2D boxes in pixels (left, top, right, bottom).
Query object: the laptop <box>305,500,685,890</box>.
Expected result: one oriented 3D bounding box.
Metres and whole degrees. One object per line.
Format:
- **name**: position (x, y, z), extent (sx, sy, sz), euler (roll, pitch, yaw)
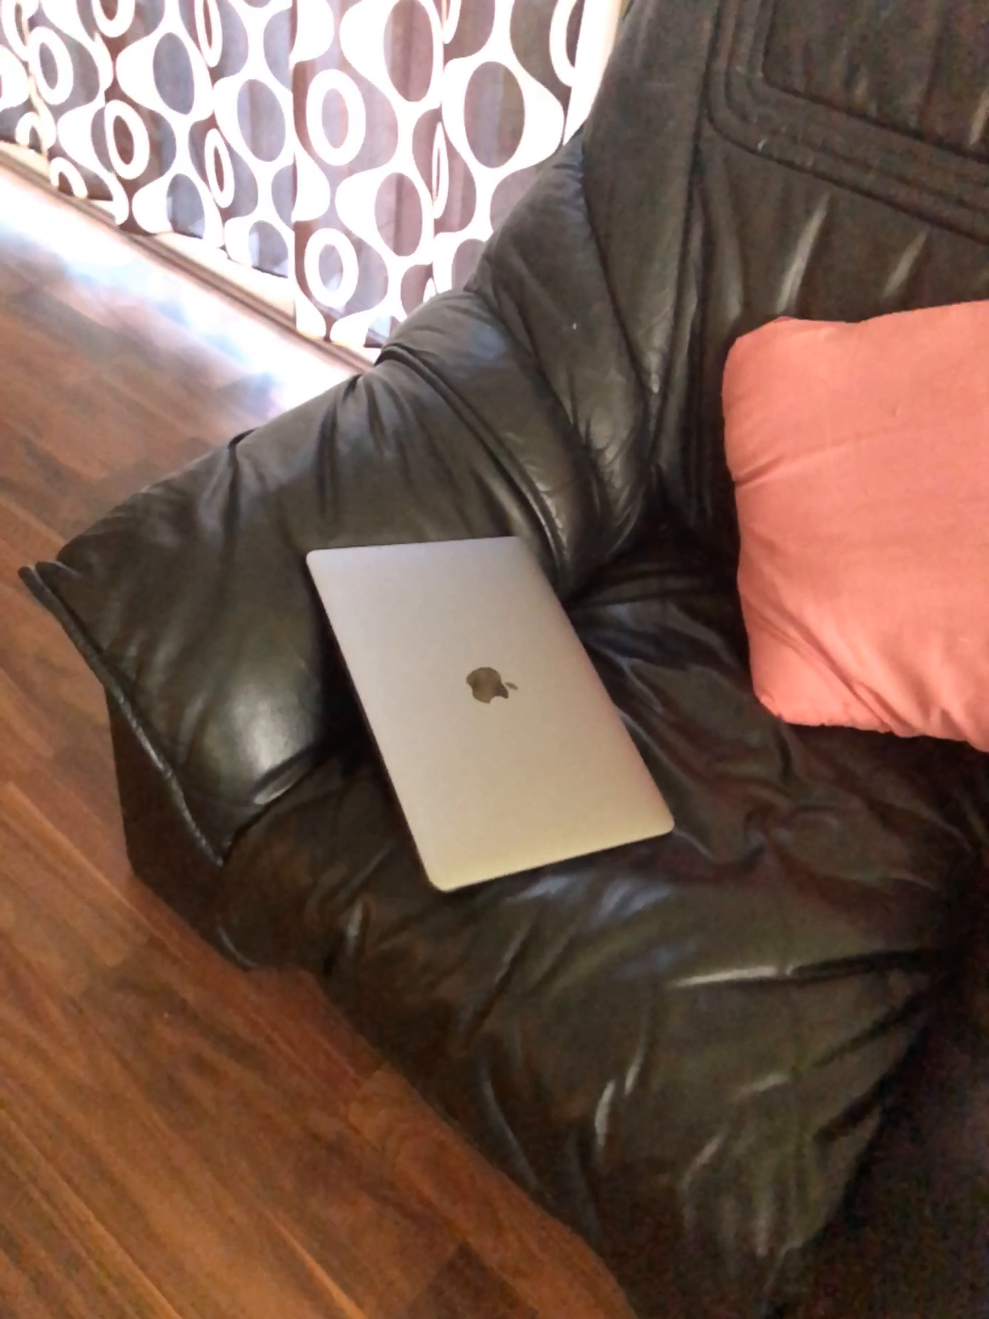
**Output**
- **laptop**: position (-0.004, 0.006, 0.745), extent (0.185, 0.036, 0.265), euler (-7, 56, -31)
